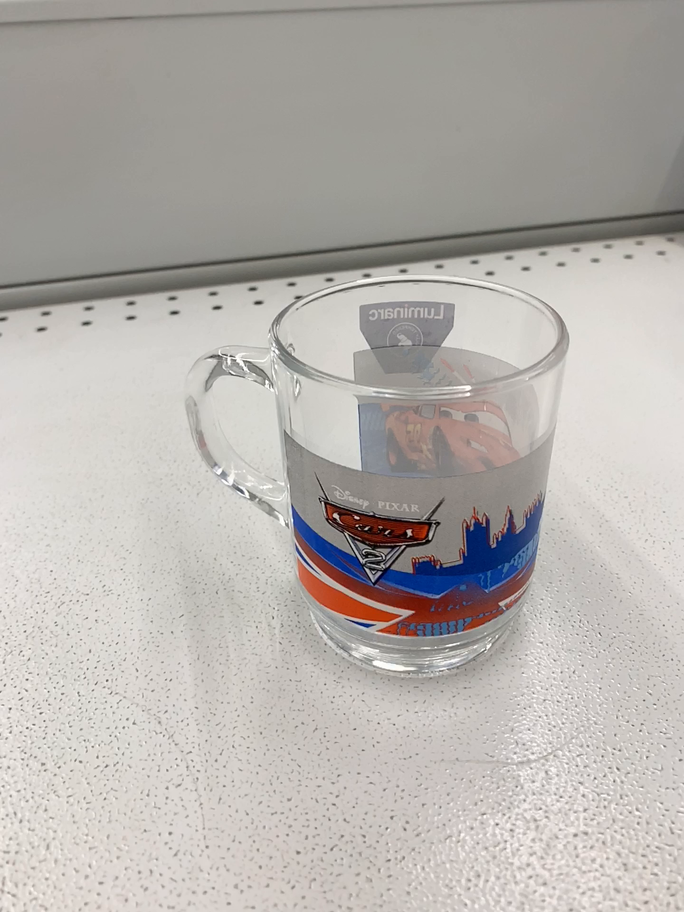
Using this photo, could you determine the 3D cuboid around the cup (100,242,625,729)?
[{"bbox_3d":[0.009,-0.001,0.189,0.101,0.081,0.072,14,36,24],"label":"cup"}]
